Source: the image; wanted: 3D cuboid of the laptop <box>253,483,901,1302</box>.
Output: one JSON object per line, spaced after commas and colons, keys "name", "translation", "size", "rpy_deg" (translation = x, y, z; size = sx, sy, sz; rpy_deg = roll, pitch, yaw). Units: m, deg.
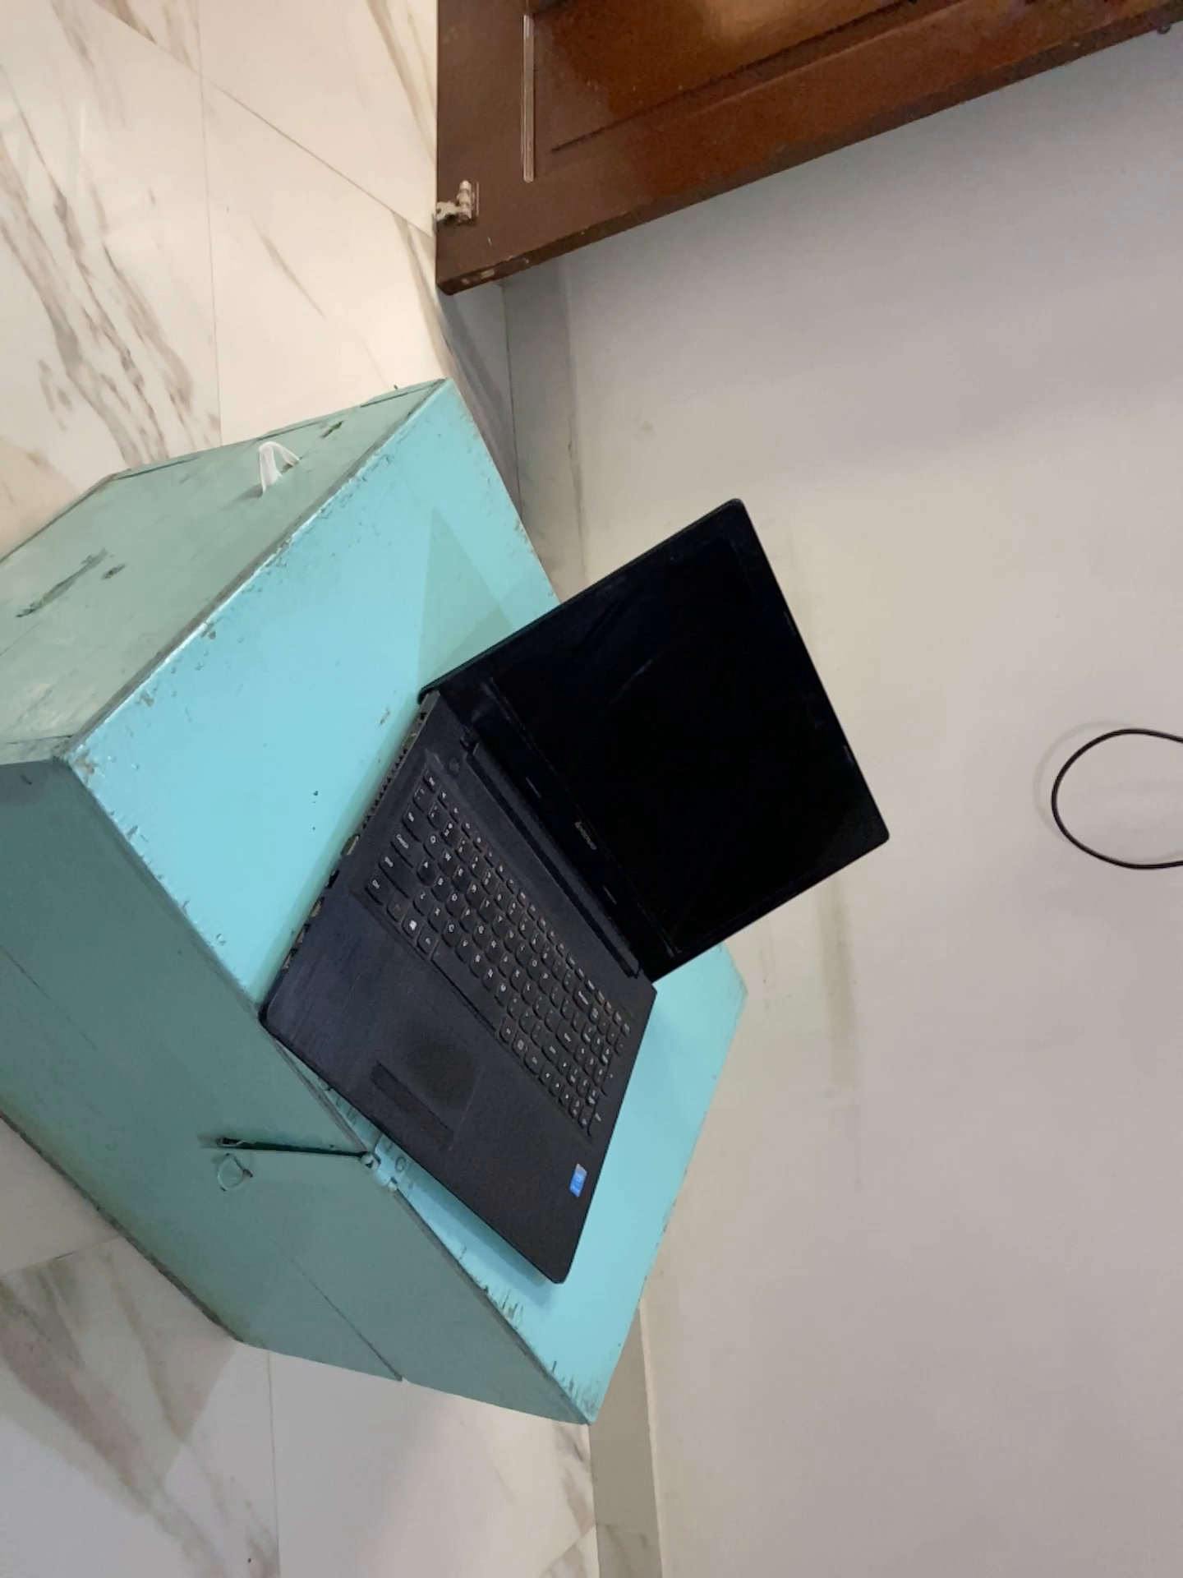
{"name": "laptop", "translation": [0.041, 0.079, 0.870], "size": [0.372, 0.190, 0.424], "rpy_deg": [57, 42, -38]}
